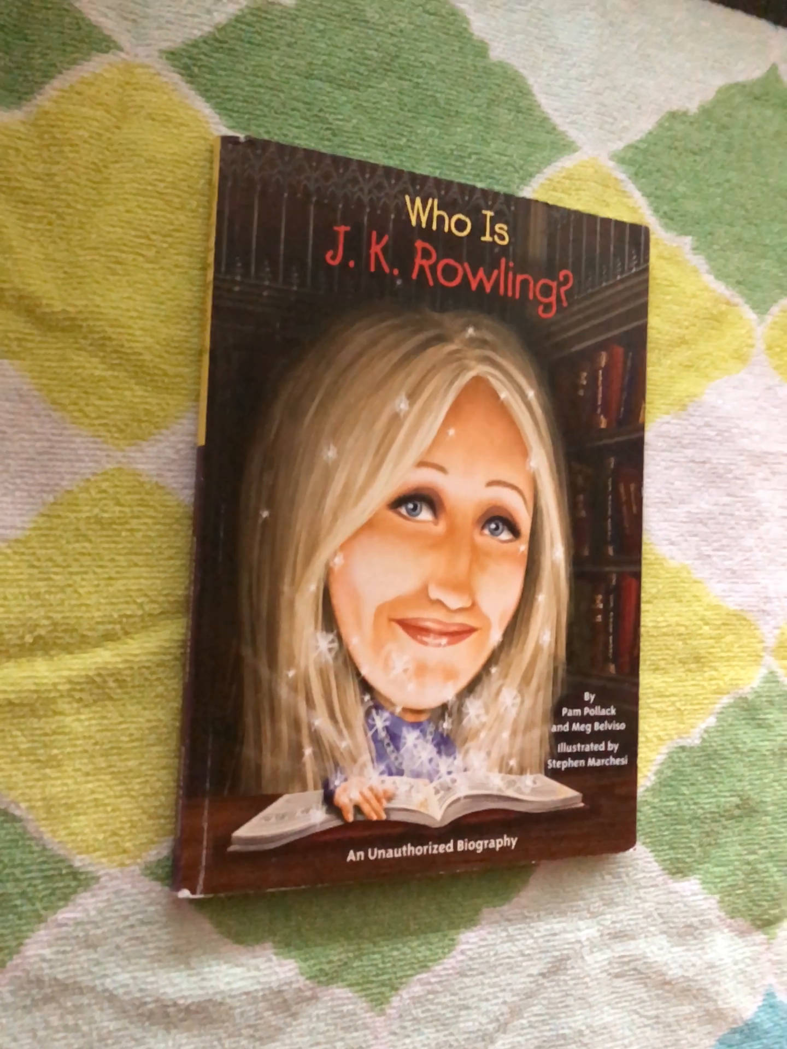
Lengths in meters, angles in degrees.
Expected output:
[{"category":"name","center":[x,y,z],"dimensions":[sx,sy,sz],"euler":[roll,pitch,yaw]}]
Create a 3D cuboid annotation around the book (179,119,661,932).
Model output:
[{"category":"book","center":[0.014,0.001,0.228],"dimensions":[0.126,0.012,0.187],"euler":[4,85,-22]}]
